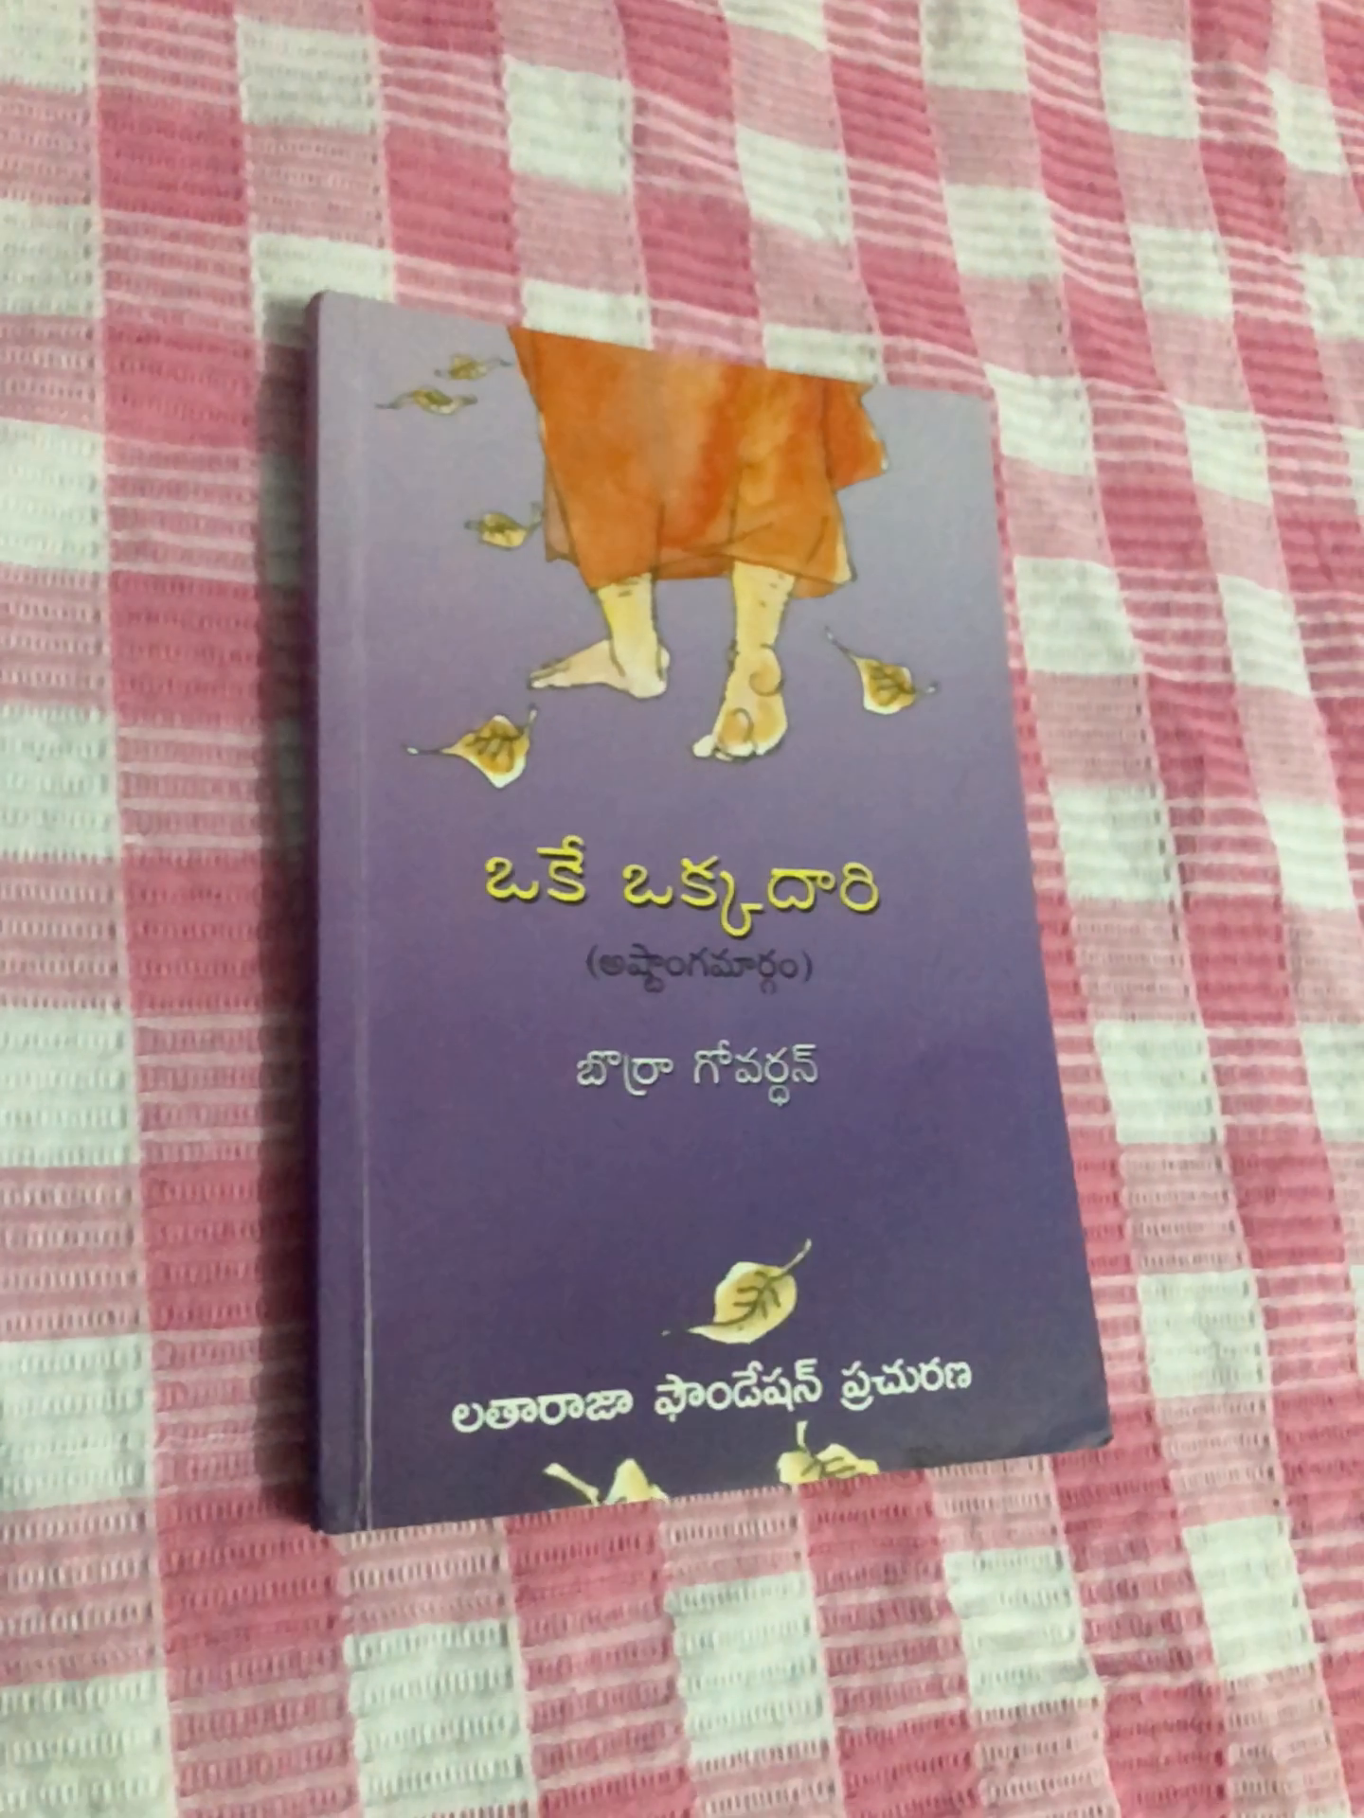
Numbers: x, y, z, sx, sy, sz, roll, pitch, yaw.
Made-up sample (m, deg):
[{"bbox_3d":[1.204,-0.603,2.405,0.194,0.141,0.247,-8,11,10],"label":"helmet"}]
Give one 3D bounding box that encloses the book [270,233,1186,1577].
[{"bbox_3d":[0.008,-0.006,0.267,0.151,0.020,0.210,3,76,-21],"label":"book"}]
